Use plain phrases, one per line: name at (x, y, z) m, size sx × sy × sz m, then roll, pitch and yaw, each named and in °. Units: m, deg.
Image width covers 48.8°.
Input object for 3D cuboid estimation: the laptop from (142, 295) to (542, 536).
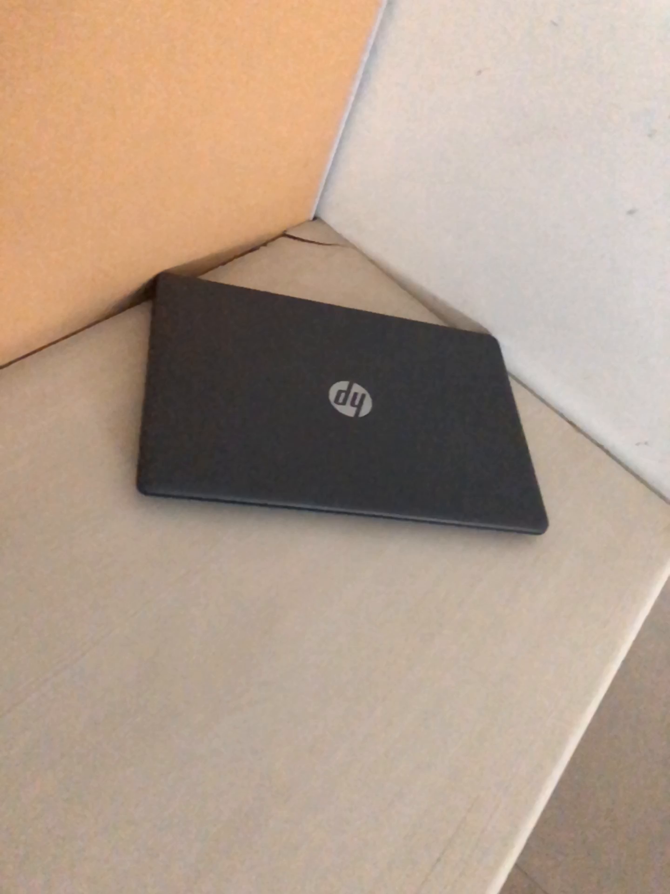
laptop at (0.011, -0.033, 0.697) m, size 0.356 × 0.004 × 0.237 m, roll 7°, pitch 51°, yaw -17°
